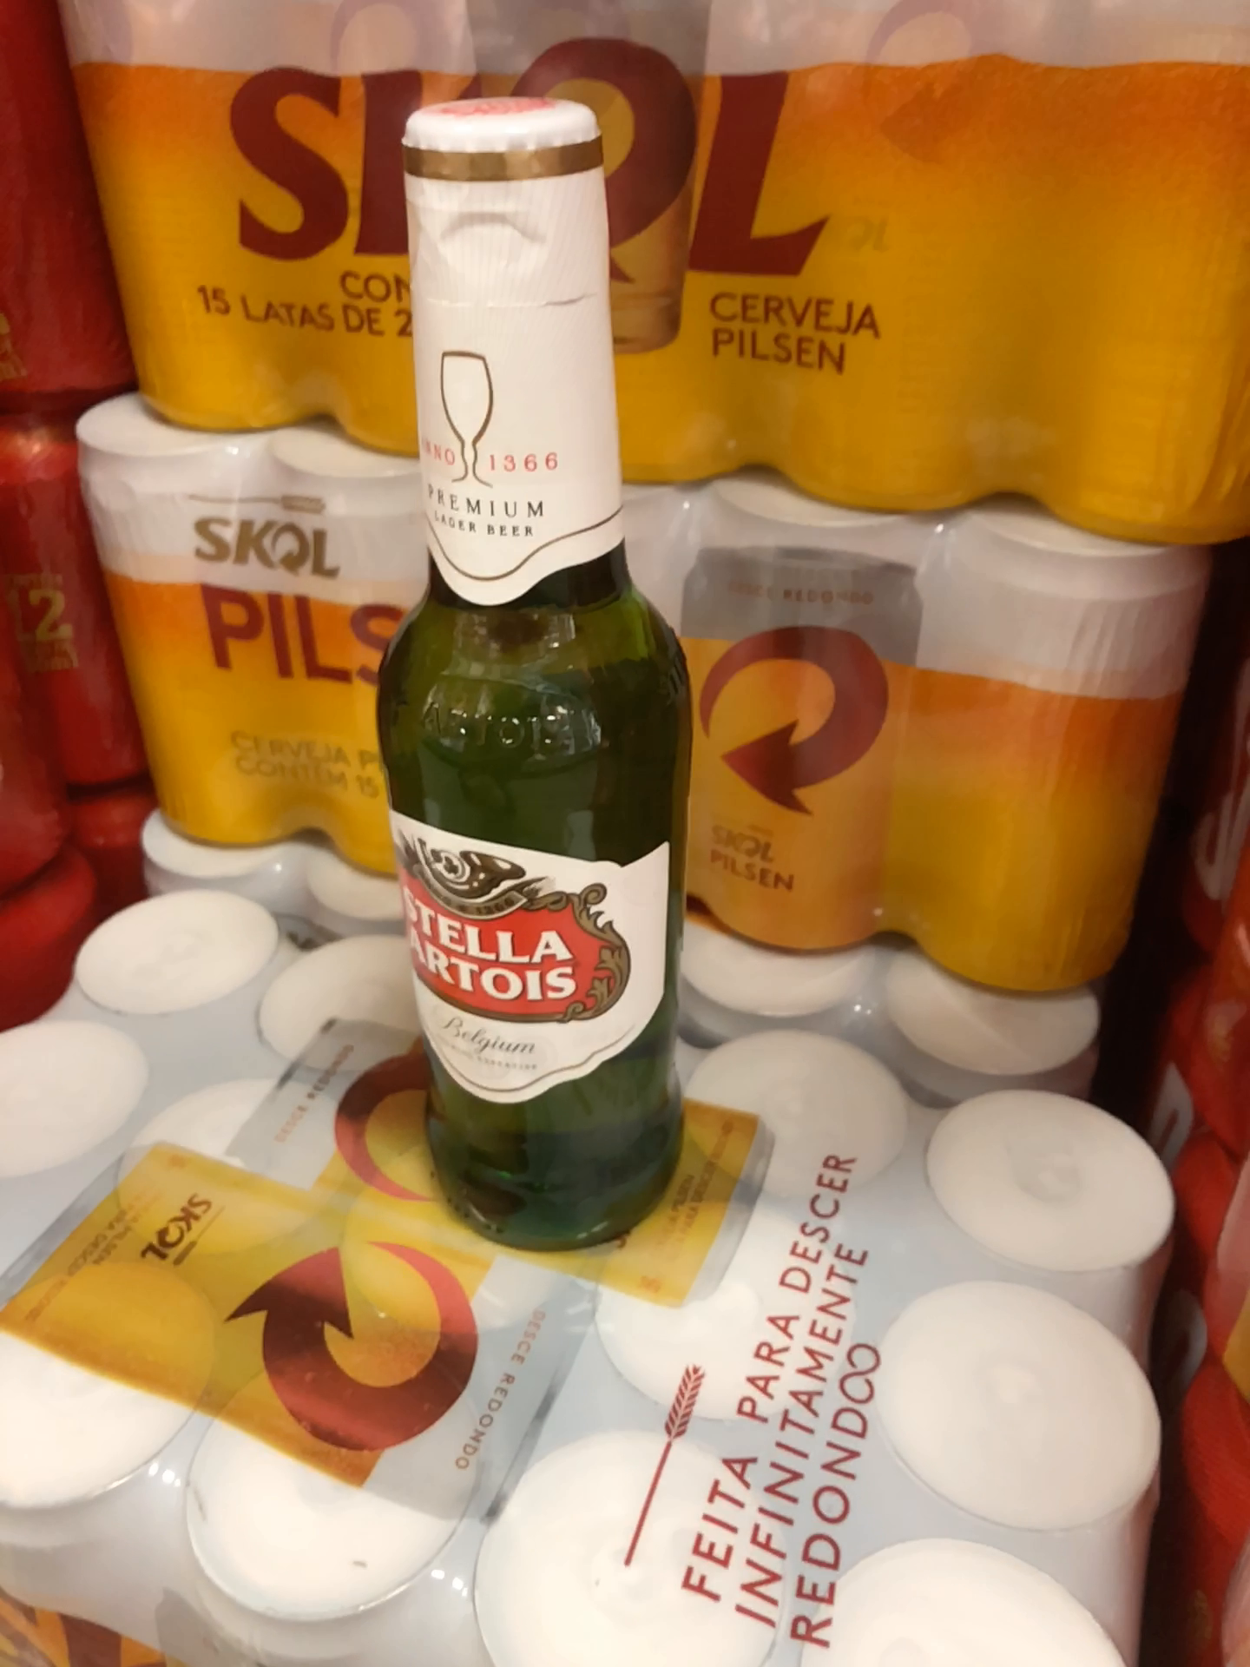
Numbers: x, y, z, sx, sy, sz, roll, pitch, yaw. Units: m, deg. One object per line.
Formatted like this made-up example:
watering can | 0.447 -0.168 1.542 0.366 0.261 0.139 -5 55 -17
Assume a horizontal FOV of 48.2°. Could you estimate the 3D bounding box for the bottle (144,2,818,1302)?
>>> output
bottle | -0.012 -0.018 0.249 0.070 0.218 0.060 11 38 17
